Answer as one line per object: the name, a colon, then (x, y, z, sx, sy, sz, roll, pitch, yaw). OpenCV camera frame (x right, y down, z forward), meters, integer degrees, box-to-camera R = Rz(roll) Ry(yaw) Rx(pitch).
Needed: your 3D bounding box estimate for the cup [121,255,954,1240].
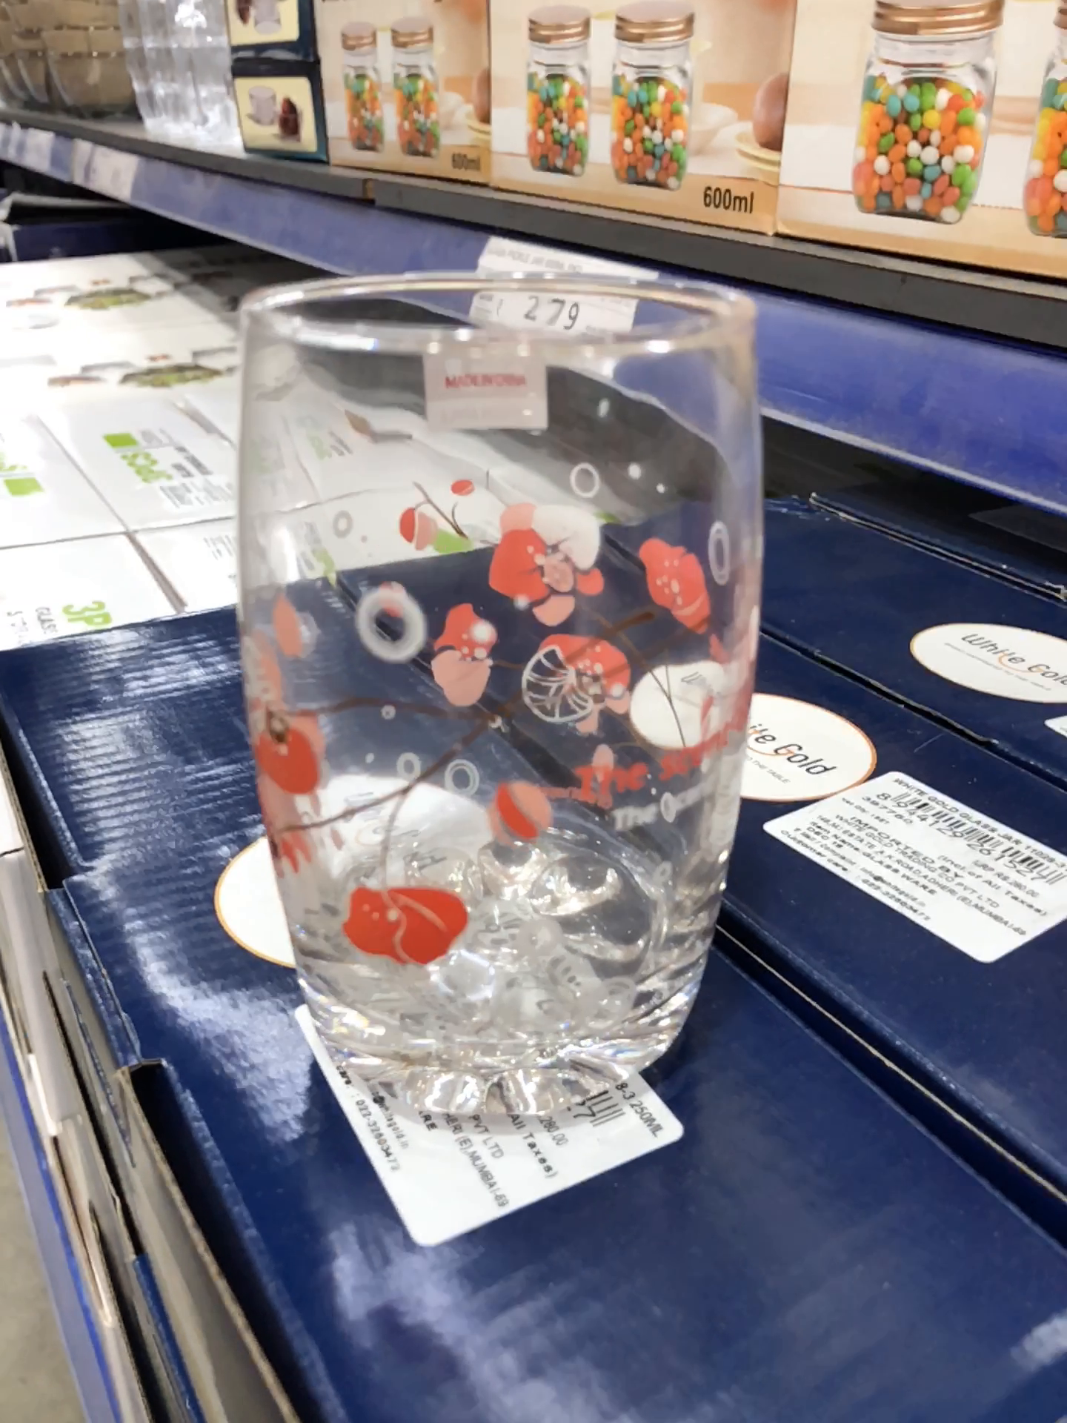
cup: (0.000, -0.004, 0.165, 0.070, 0.099, 0.070, 1, 28, 0)
